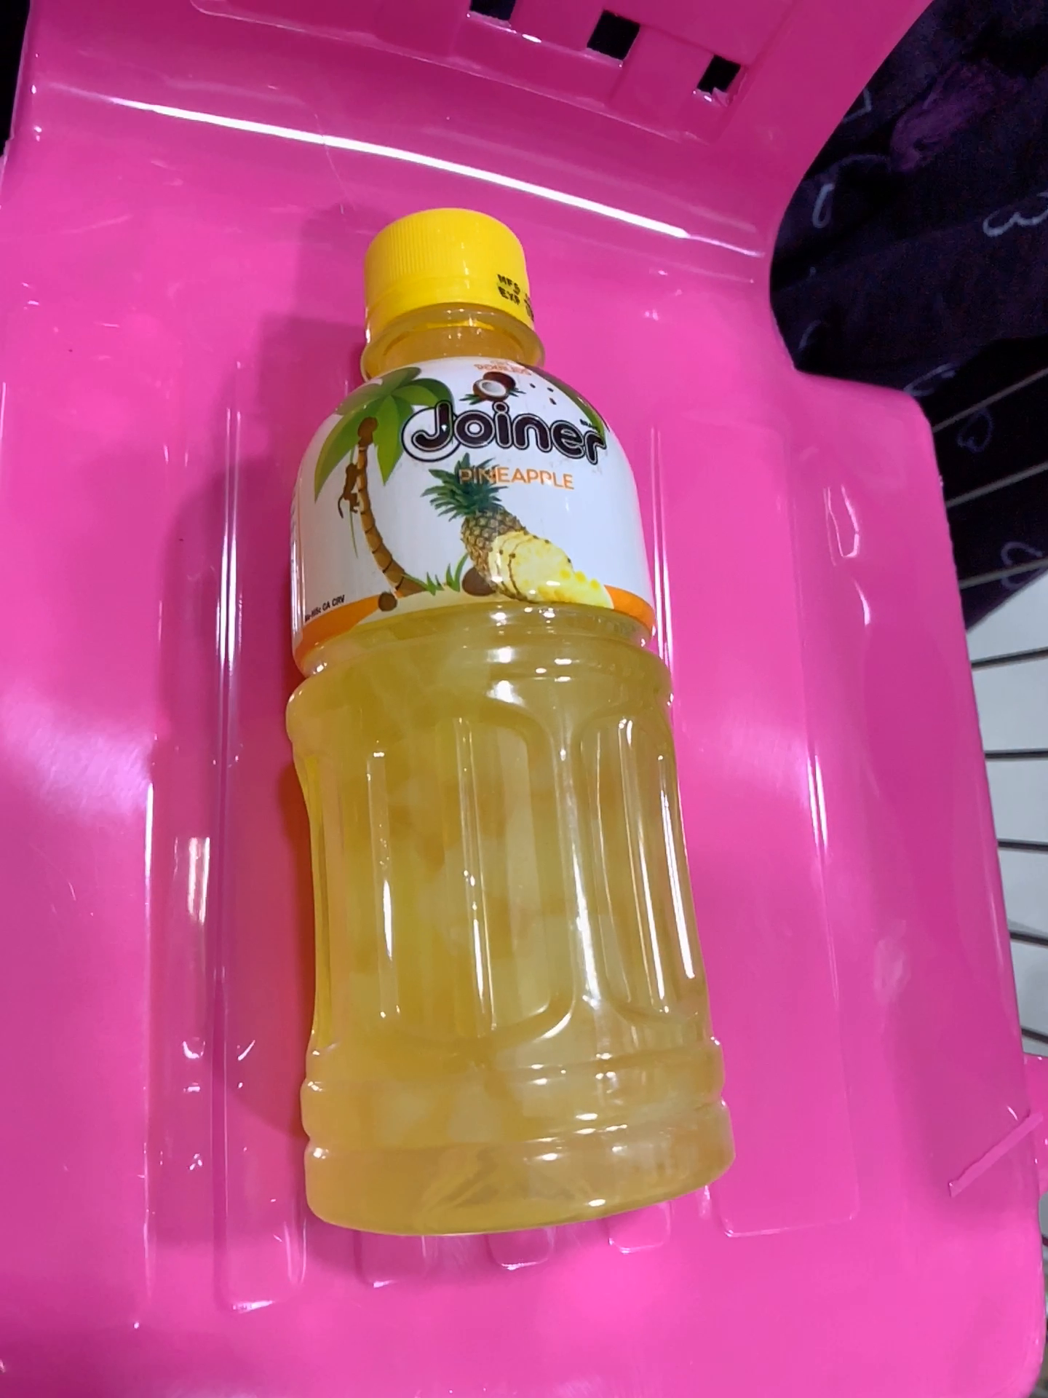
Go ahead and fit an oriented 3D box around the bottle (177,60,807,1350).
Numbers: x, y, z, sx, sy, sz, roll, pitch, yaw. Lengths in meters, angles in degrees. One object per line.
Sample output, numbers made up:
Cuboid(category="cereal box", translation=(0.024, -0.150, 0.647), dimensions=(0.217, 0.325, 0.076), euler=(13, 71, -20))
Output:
Cuboid(category="bottle", translation=(-0.010, -0.004, 0.167), dimensions=(0.070, 0.060, 0.160), euler=(-3, 80, -6))
